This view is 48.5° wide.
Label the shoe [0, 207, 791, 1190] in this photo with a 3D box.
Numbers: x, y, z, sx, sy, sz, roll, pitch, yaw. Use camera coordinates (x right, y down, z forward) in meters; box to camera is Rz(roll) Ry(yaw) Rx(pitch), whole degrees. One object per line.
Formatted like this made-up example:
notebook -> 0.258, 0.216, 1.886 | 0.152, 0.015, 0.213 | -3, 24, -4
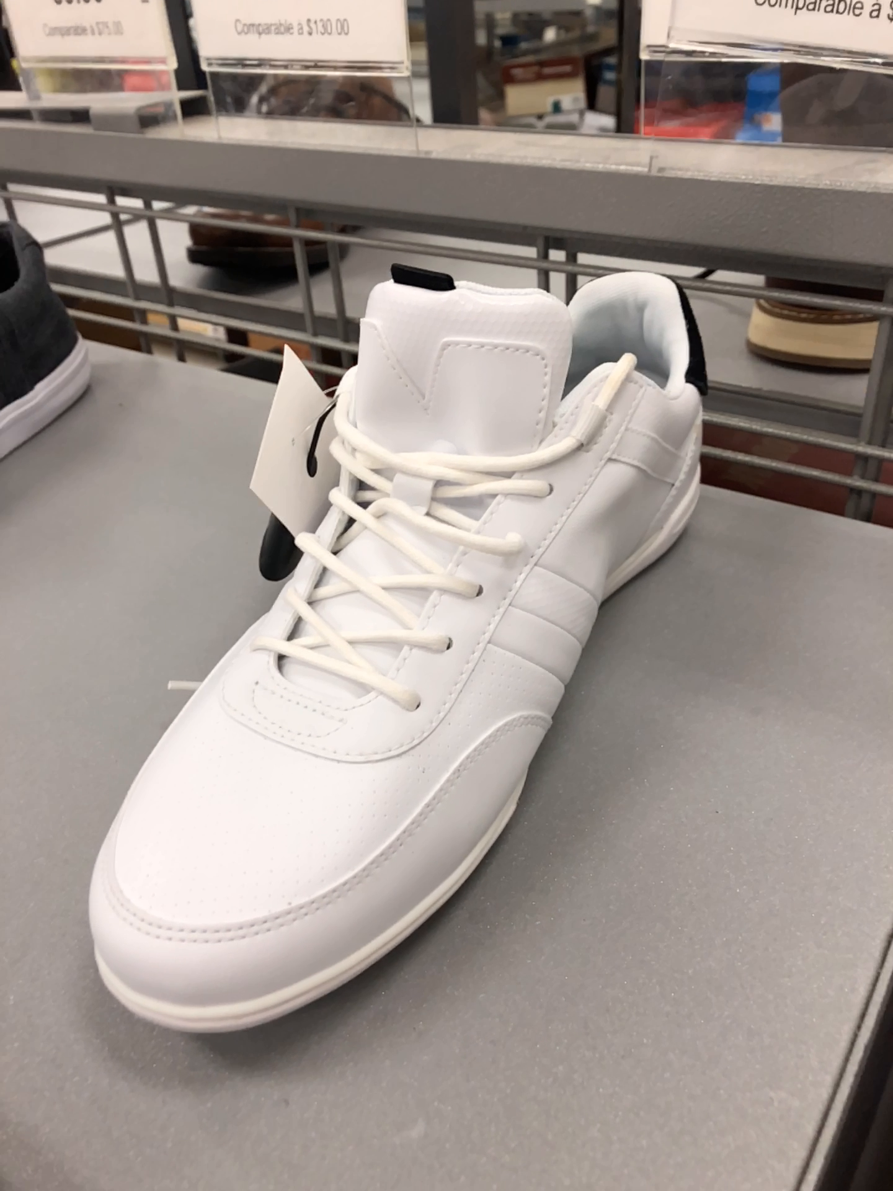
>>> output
shoe -> 0.000, -0.013, 0.281 | 0.110, 0.119, 0.272 | 15, 38, 26
